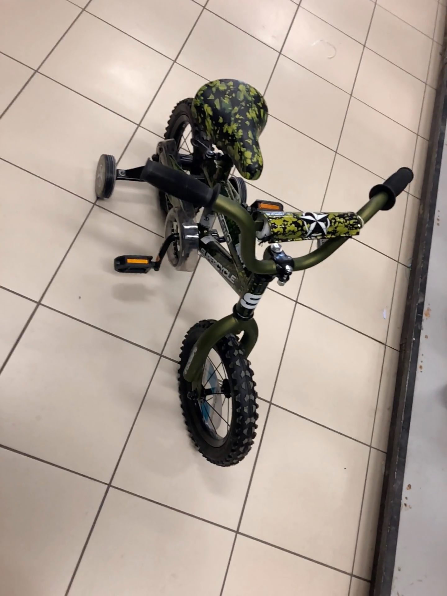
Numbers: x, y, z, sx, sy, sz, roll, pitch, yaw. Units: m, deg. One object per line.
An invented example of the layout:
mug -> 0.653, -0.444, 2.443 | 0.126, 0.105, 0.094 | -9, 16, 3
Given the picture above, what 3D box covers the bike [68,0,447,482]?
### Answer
bike -> 0.029, -0.123, 0.946 | 0.534, 0.557, 0.817 | -1, 67, -23
